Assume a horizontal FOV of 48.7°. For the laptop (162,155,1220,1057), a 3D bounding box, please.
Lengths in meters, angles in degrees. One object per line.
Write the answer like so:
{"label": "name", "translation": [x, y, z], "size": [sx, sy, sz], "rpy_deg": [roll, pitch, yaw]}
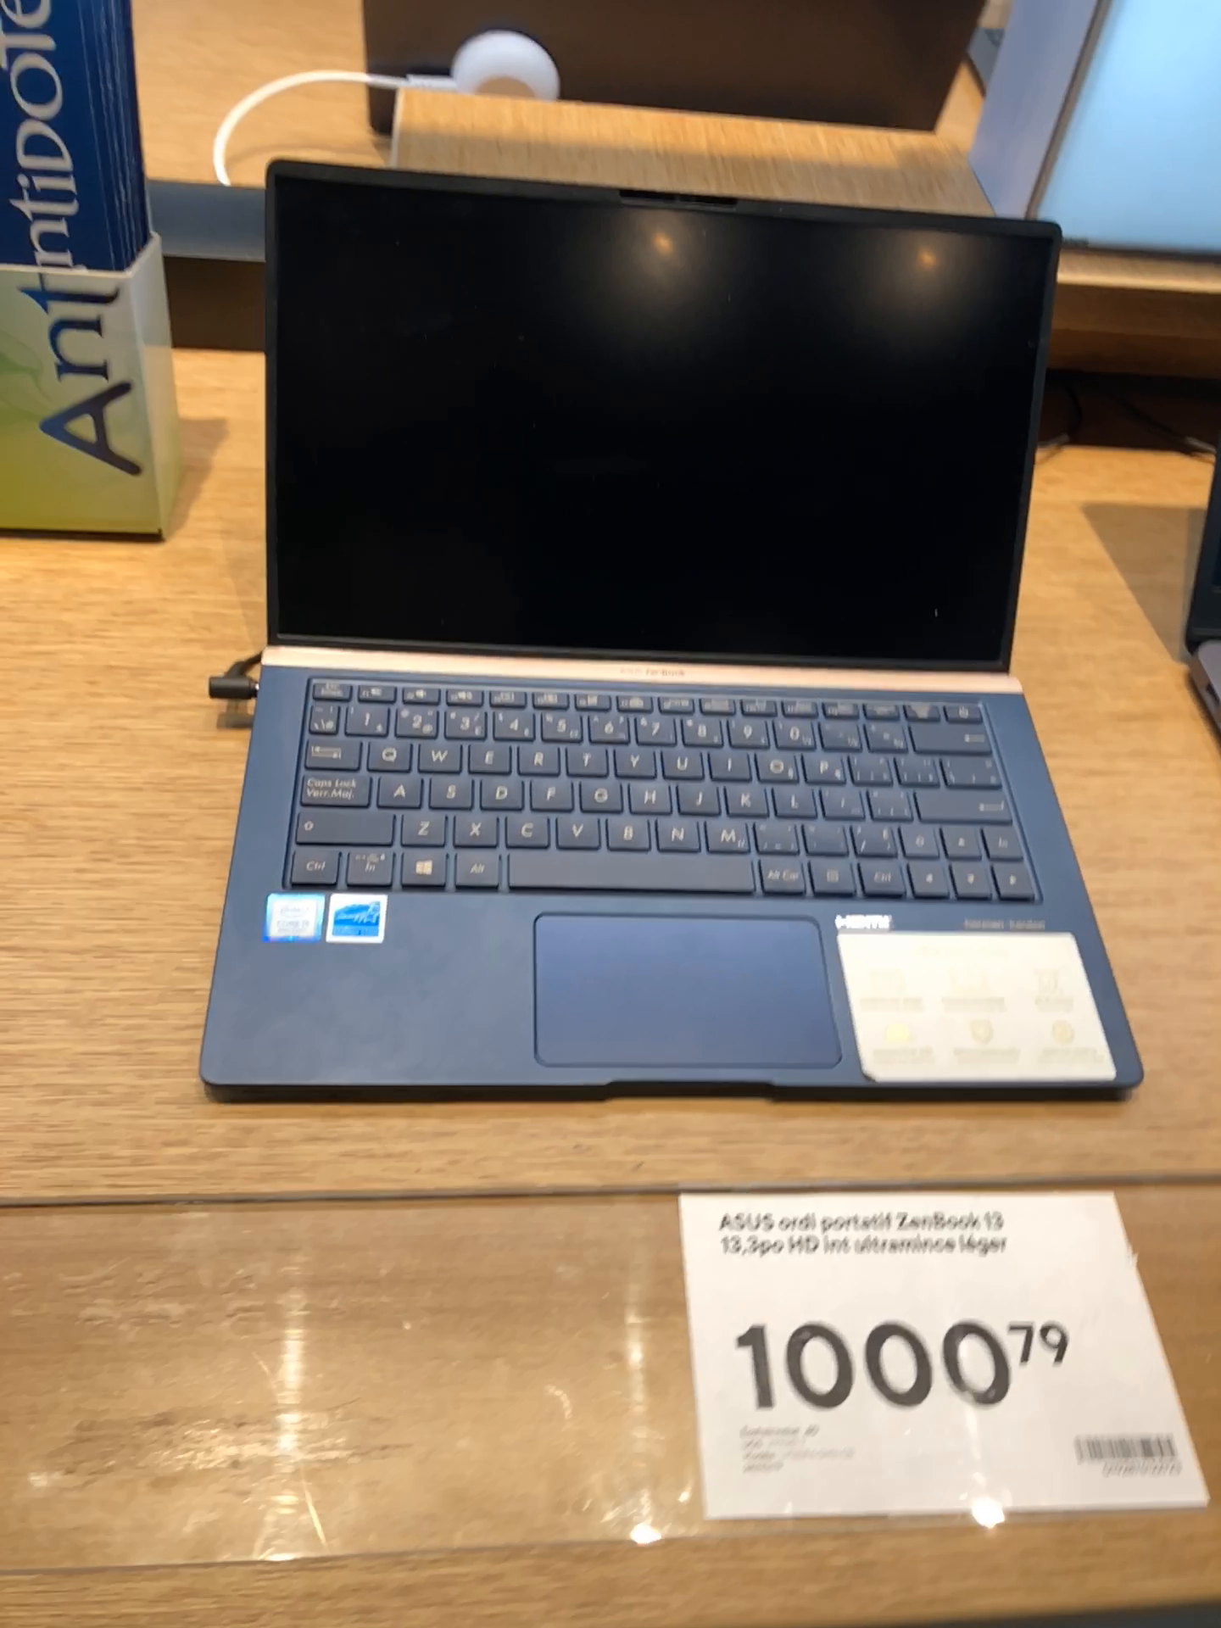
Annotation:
{"label": "laptop", "translation": [0.027, -0.079, 0.453], "size": [0.276, 0.130, 0.277], "rpy_deg": [2, 52, -5]}
